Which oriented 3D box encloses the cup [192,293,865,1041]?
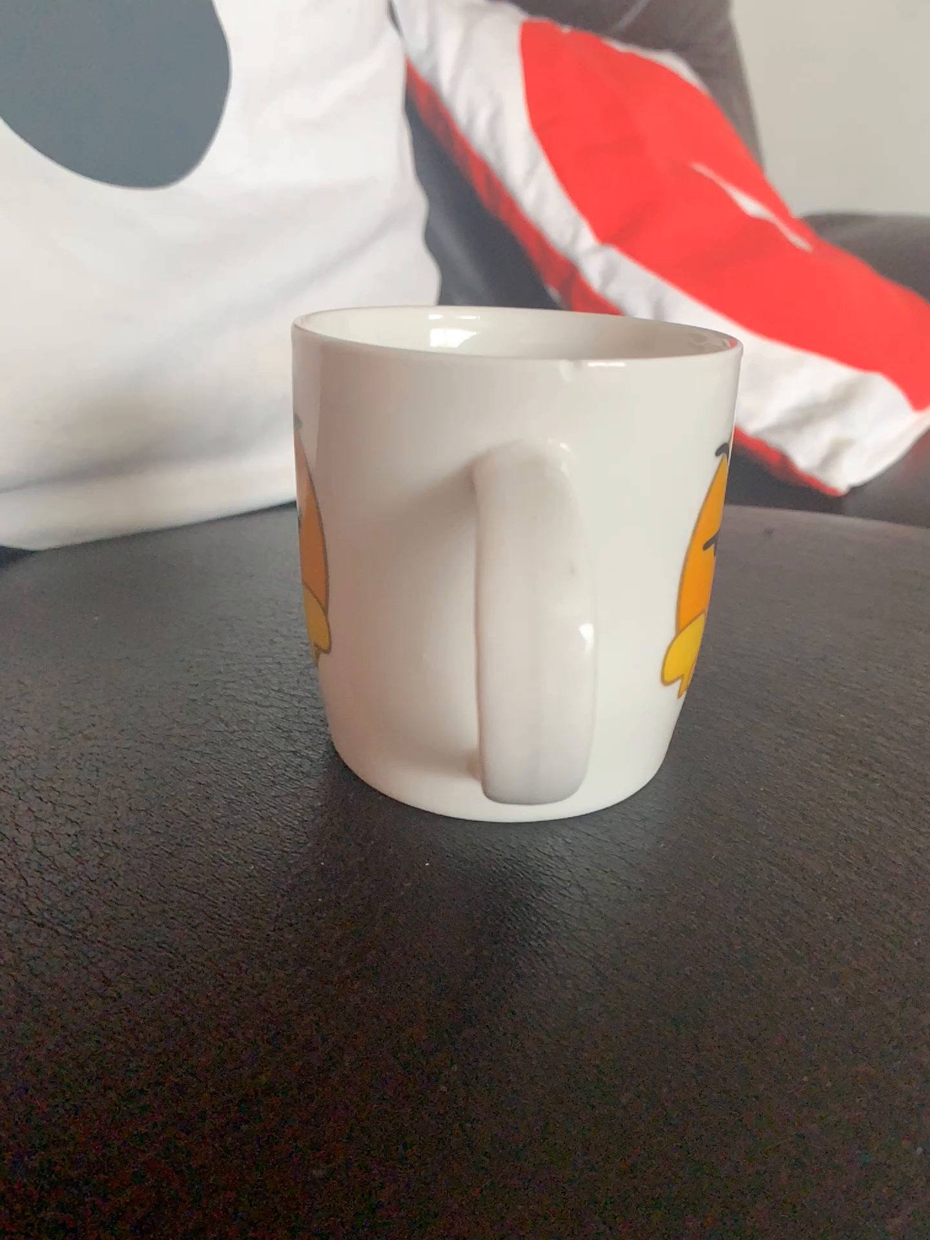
[{"bbox_3d":[0.009,-0.006,0.189,0.080,0.099,0.121,3,21,3],"label":"cup"}]
